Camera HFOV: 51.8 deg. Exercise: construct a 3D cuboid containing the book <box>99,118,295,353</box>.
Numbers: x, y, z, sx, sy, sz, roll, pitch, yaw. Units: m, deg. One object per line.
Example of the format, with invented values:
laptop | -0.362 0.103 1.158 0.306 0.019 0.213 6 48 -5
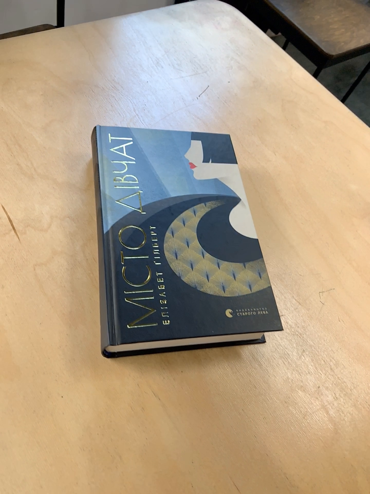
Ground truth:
book | -0.001 -0.019 0.330 0.134 0.043 0.197 -2 63 -15
